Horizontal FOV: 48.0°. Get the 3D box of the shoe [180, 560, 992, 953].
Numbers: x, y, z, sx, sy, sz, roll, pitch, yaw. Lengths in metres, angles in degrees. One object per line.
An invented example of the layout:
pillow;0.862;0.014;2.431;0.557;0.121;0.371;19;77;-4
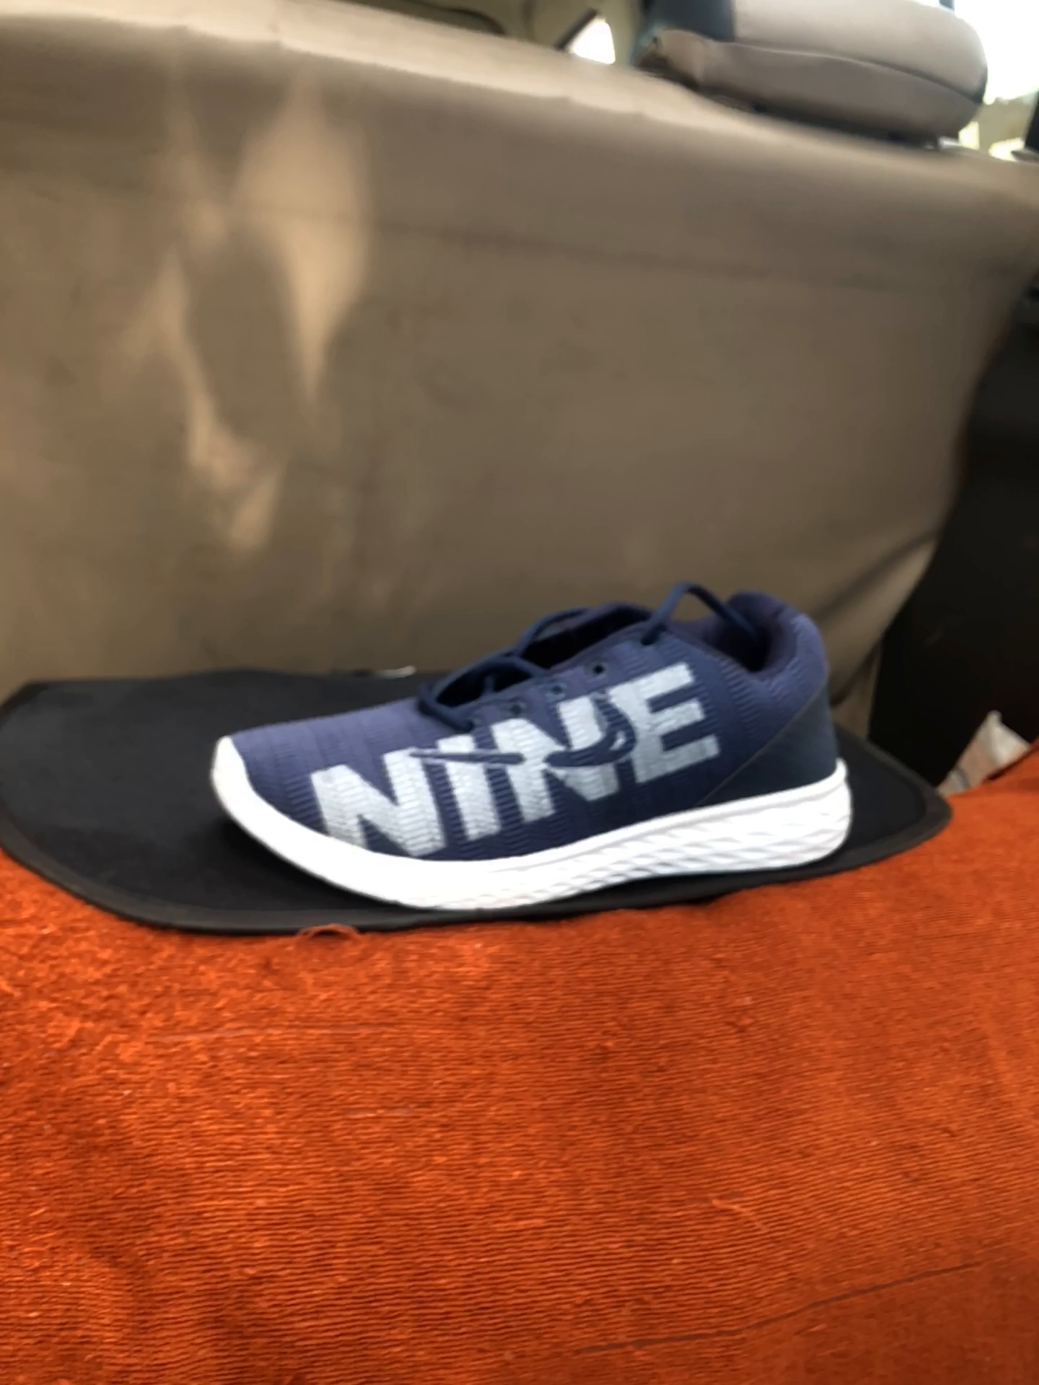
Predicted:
shoe;0.018;0.011;0.470;0.291;0.100;0.130;-3;18;-17
